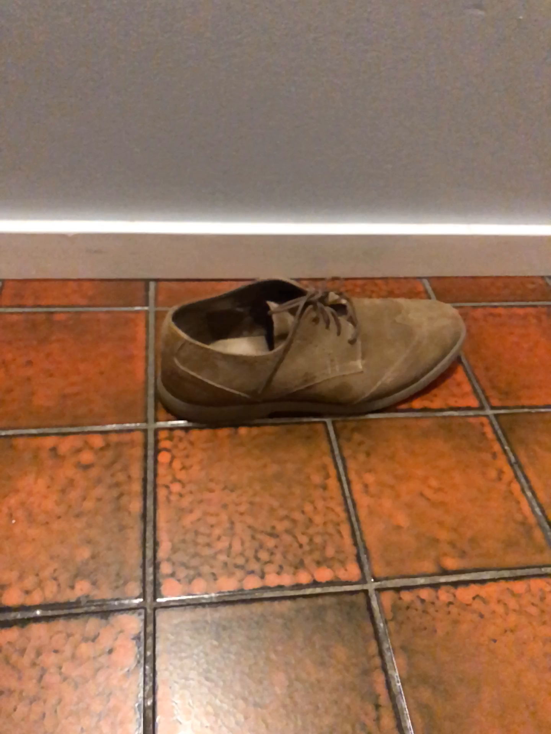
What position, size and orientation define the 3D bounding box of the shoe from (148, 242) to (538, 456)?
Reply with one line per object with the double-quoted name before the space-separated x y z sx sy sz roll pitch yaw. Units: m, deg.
"shoe" 0.050 -0.023 0.538 0.300 0.100 0.120 -7 47 -15
